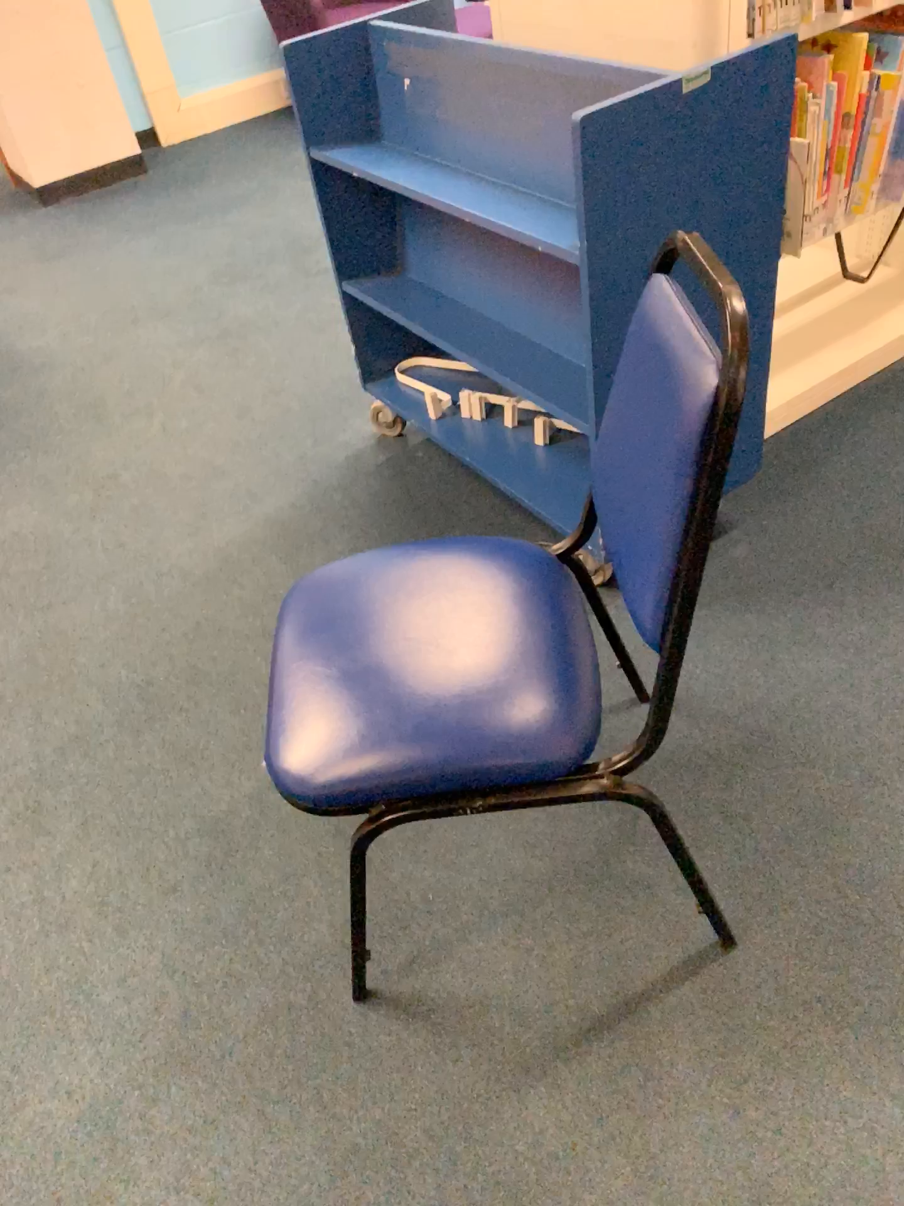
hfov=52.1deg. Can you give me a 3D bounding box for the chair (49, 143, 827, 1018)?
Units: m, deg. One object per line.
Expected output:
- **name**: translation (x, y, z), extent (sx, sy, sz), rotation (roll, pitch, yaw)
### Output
- **chair**: translation (0.032, 0.016, 1.182), extent (0.580, 0.881, 0.565), rotation (-9, 41, 3)
